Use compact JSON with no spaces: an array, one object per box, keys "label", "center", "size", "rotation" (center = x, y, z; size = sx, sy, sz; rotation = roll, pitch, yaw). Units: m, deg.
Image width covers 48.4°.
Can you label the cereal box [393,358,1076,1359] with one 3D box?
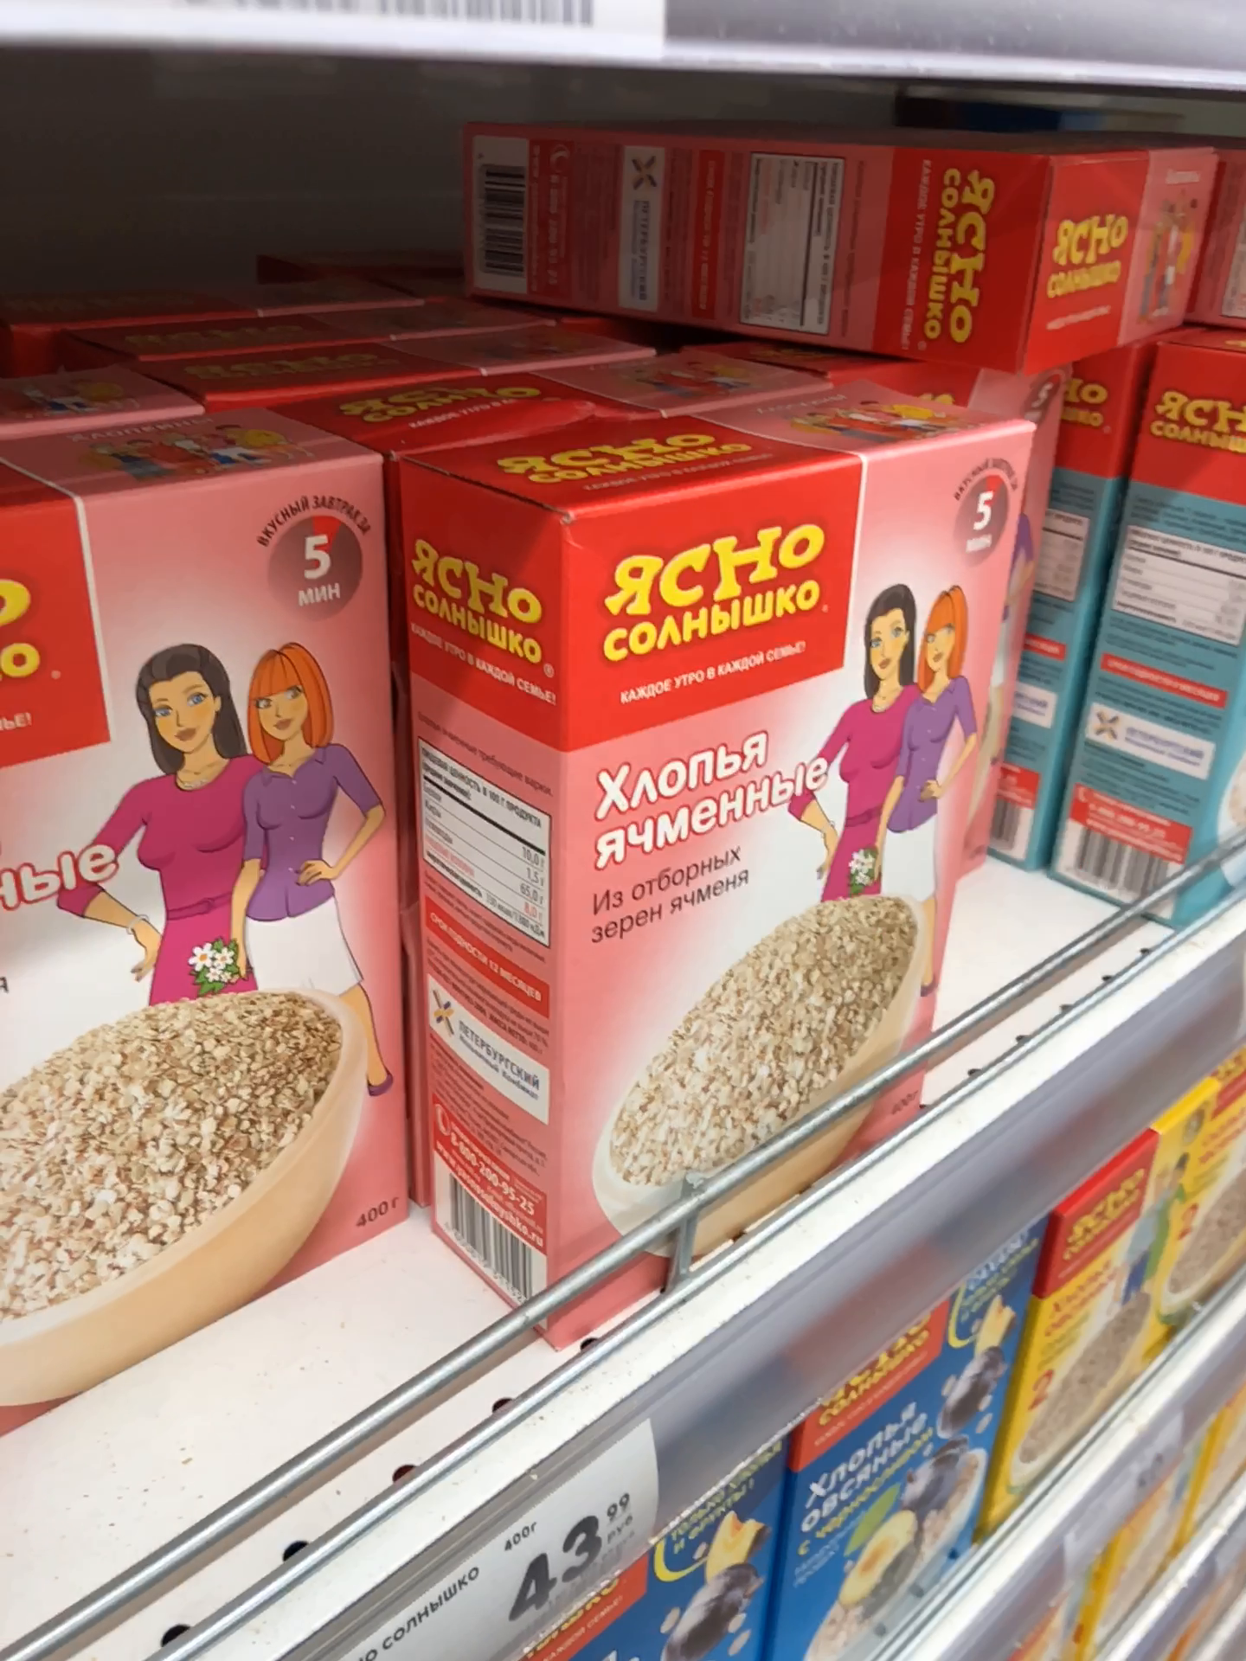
[{"label":"cereal box","center":[0.025,0.001,0.315],"size":[0.140,0.189,0.050],"rotation":[-21,35,-37]}]
